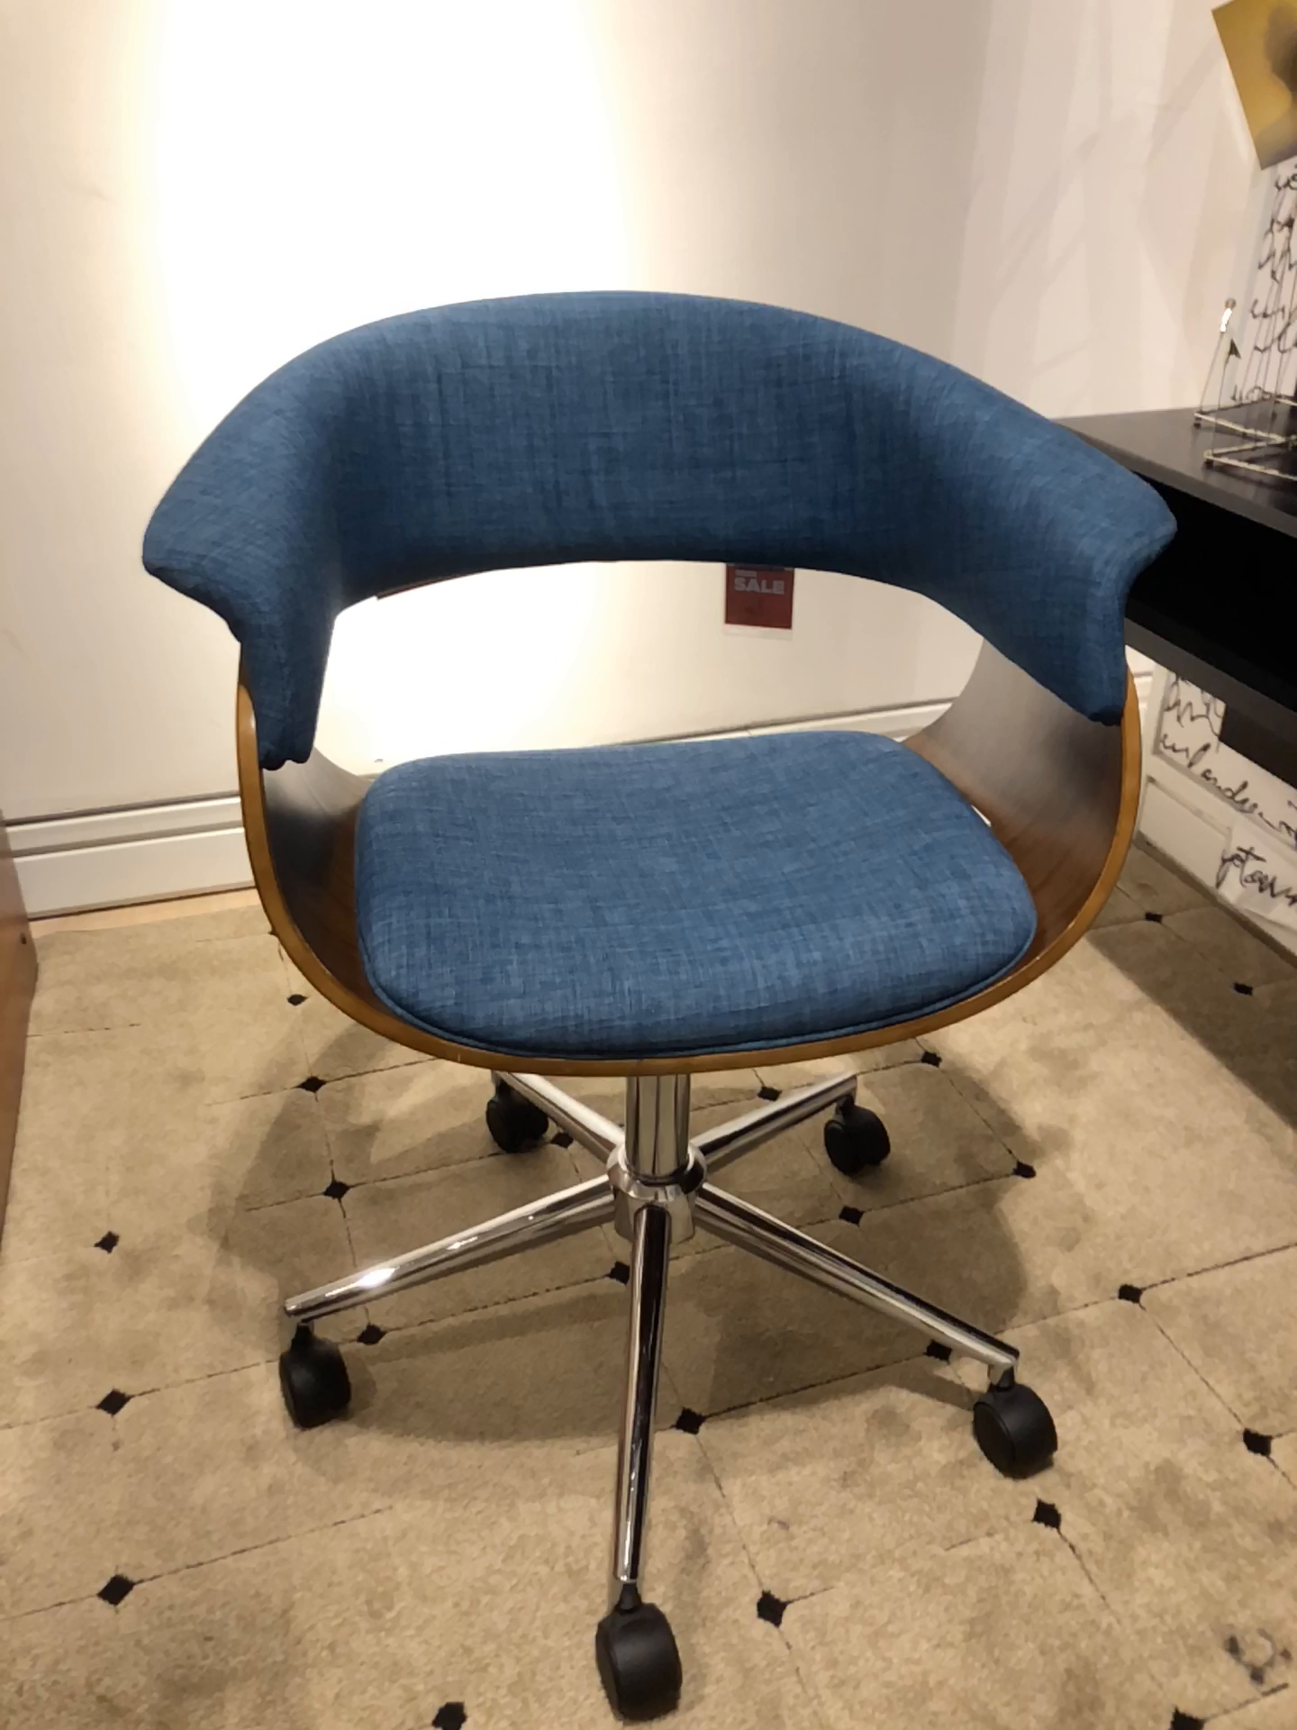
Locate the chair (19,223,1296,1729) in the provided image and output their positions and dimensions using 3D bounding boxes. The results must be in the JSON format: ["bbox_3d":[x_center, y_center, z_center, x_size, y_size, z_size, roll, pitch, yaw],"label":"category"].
[{"bbox_3d":[0.001,0.016,0.992,0.611,0.774,0.674,-7,31,-14],"label":"chair"}]
